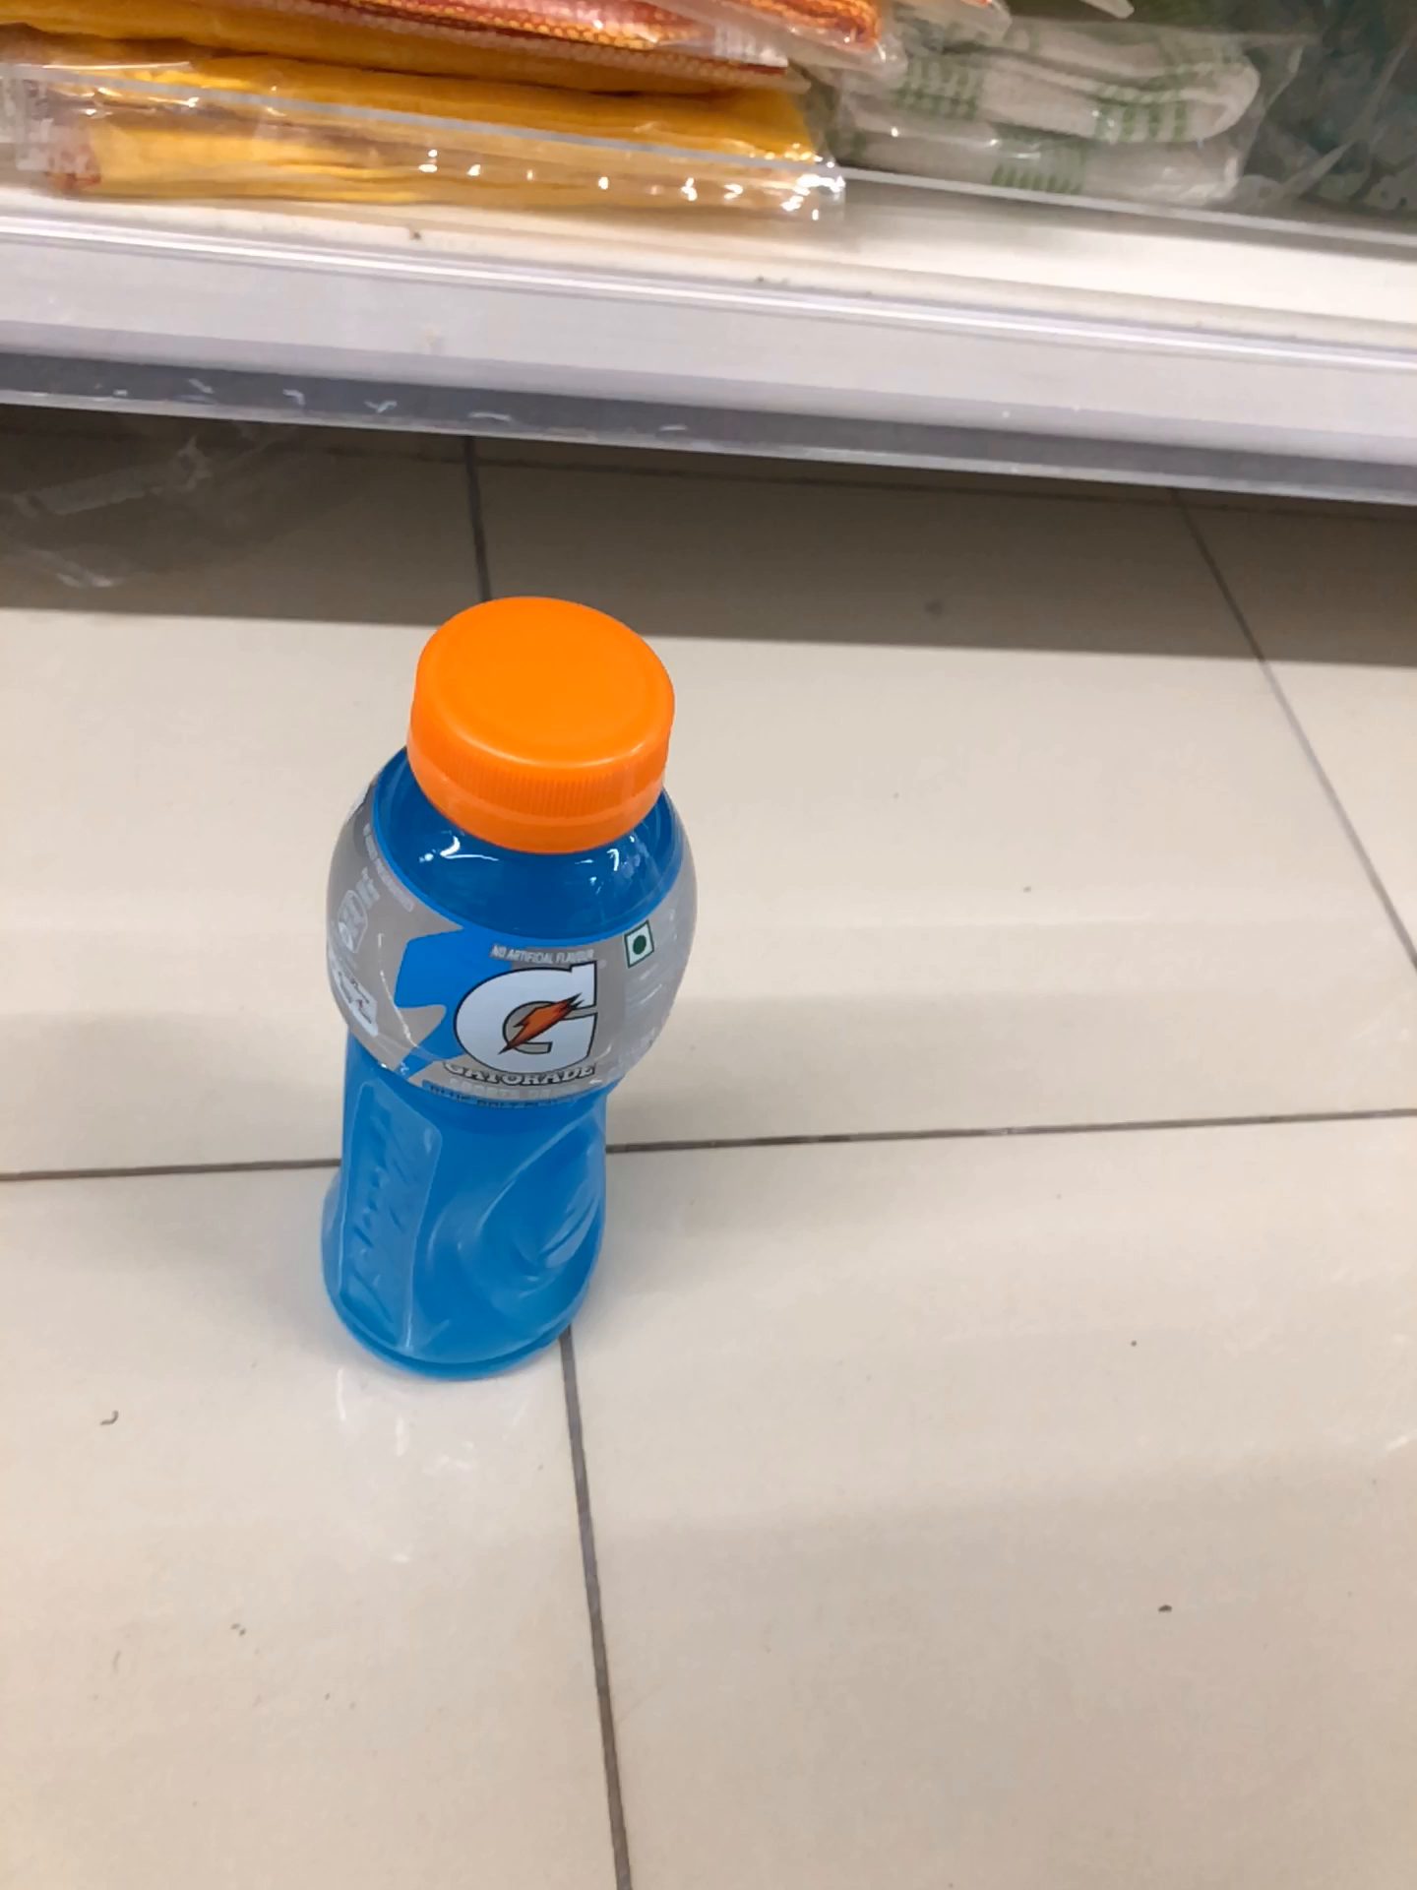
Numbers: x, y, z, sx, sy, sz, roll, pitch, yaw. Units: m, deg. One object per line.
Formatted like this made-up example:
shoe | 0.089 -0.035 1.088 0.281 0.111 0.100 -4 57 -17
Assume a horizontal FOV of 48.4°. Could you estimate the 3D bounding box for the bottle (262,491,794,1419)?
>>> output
bottle | -0.040 0.018 0.306 0.070 0.189 0.070 7 51 -9
